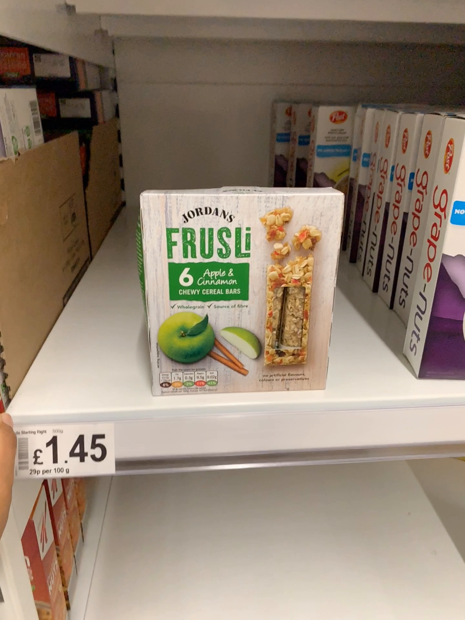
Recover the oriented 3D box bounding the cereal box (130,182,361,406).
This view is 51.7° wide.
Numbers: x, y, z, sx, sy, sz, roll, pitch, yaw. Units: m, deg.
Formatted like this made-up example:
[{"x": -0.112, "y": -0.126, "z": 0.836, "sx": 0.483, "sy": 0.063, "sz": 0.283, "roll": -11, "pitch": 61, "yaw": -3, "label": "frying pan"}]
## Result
[{"x": 0.007, "y": -0.012, "z": 0.364, "sx": 0.150, "sy": 0.159, "sz": 0.050, "roll": -1, "pitch": 24, "yaw": -5, "label": "cereal box"}]
